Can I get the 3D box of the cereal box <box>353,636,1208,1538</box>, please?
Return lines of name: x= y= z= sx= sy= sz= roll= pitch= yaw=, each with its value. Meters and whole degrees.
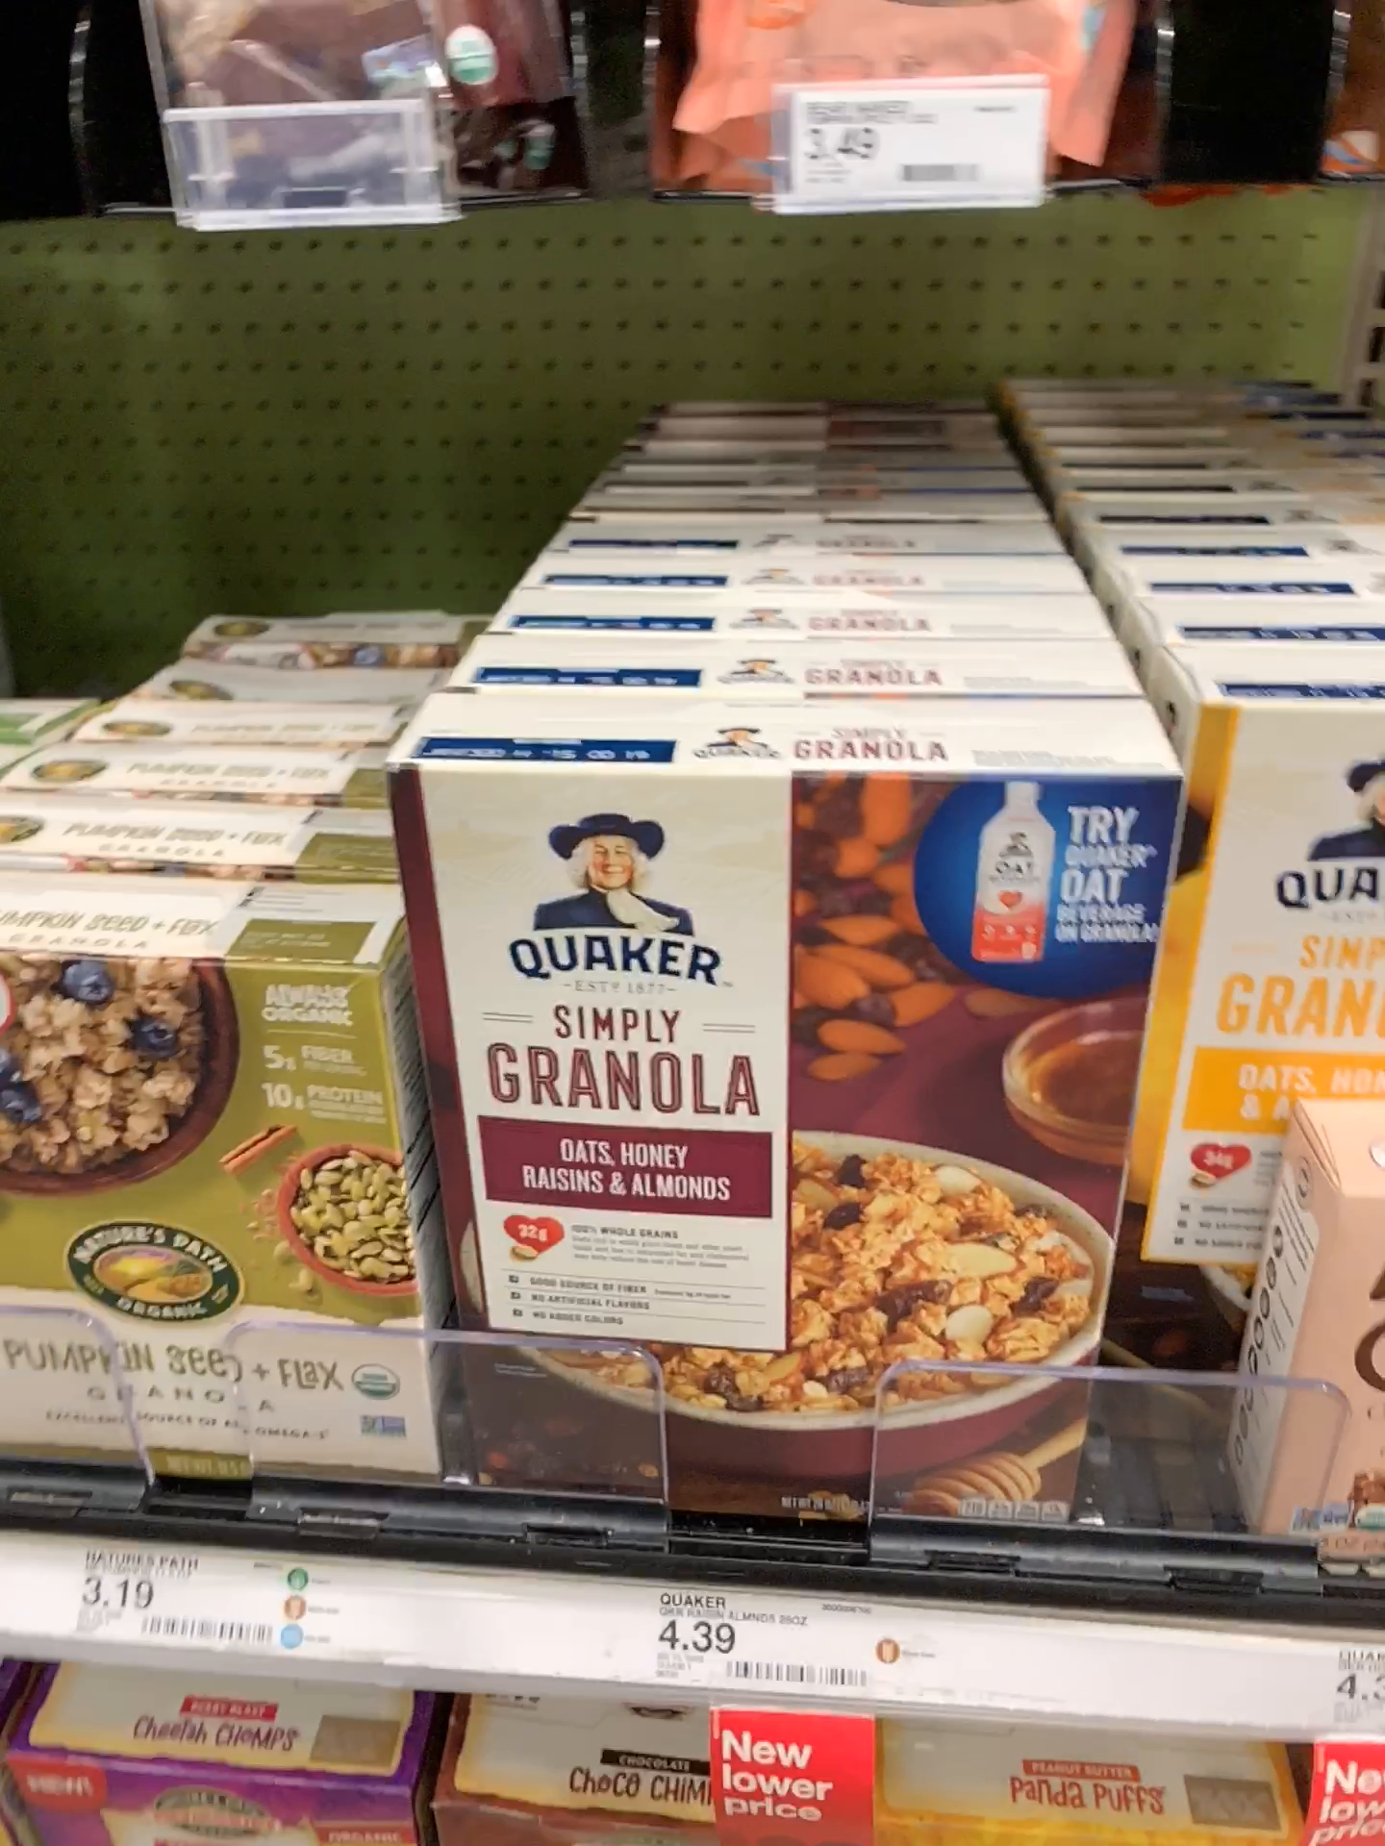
cereal box: x=0.021 y=0.053 z=0.389 sx=0.180 sy=0.249 sz=0.060 roll=1 pitch=29 yaw=4
